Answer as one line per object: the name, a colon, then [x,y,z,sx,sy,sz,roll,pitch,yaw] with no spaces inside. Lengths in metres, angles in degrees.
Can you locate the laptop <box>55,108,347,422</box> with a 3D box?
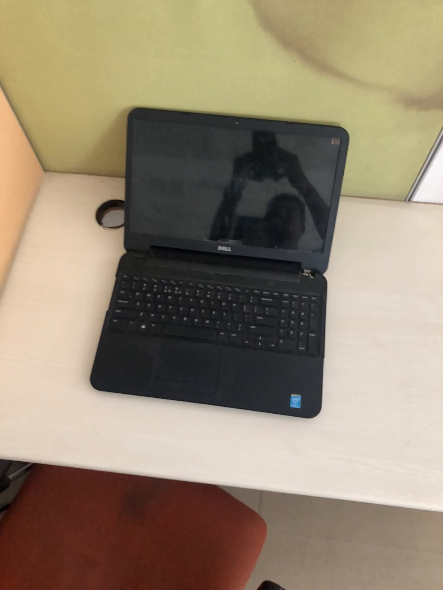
laptop: [-0.005,-0.056,0.766,0.355,0.158,0.428,7,66,3]
